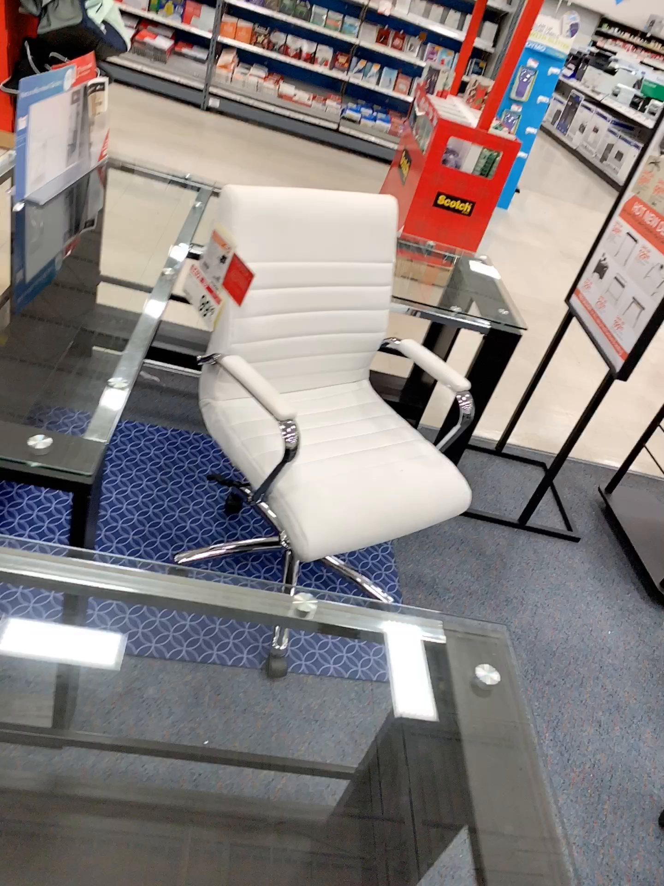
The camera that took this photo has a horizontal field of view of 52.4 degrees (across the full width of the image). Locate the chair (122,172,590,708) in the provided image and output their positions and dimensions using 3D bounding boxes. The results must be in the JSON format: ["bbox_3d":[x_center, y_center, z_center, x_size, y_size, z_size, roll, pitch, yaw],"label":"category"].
[{"bbox_3d":[-0.032,-0.026,1.645,0.616,0.963,0.663,-12,46,-38],"label":"chair"}]
